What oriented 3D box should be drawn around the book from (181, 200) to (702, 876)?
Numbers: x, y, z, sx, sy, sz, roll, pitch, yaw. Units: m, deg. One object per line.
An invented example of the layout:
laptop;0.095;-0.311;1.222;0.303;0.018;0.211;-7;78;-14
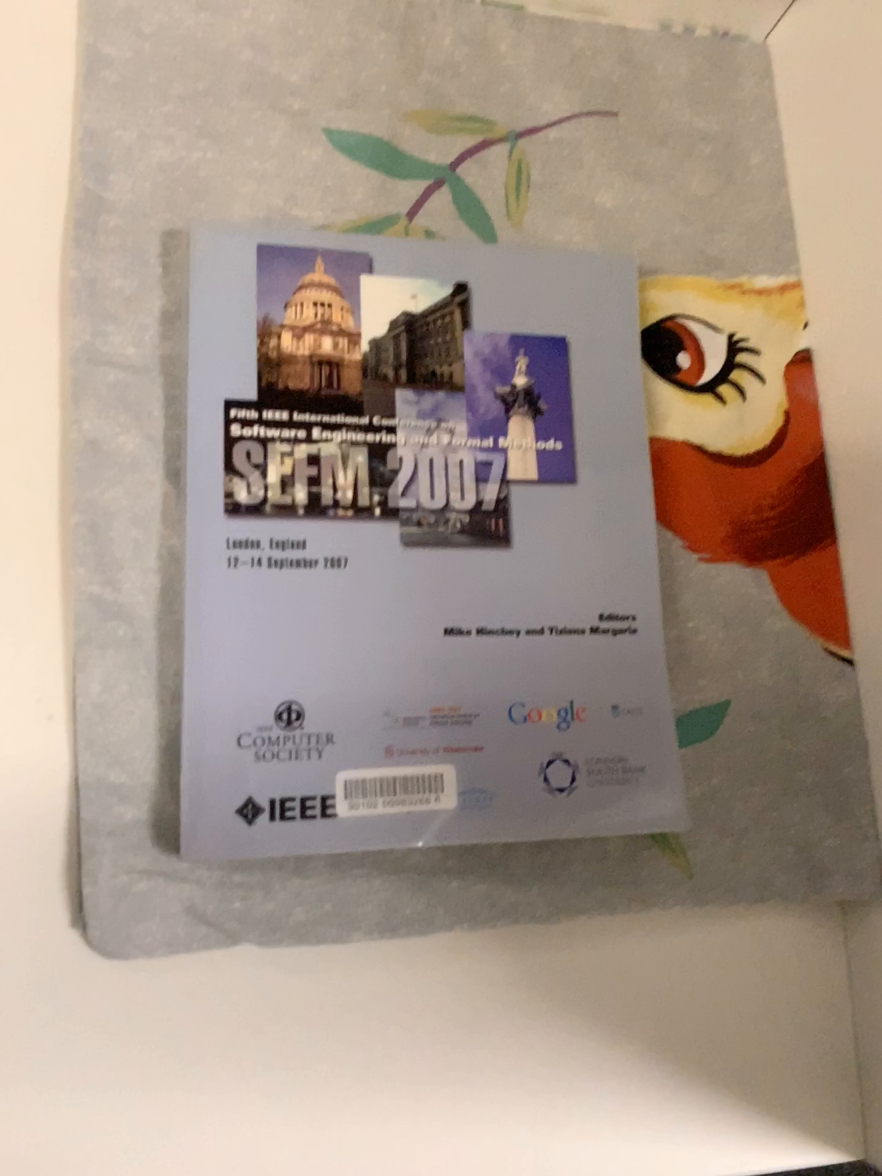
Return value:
book;-0.001;-0.026;0.392;0.210;0.030;0.275;0;79;-13
